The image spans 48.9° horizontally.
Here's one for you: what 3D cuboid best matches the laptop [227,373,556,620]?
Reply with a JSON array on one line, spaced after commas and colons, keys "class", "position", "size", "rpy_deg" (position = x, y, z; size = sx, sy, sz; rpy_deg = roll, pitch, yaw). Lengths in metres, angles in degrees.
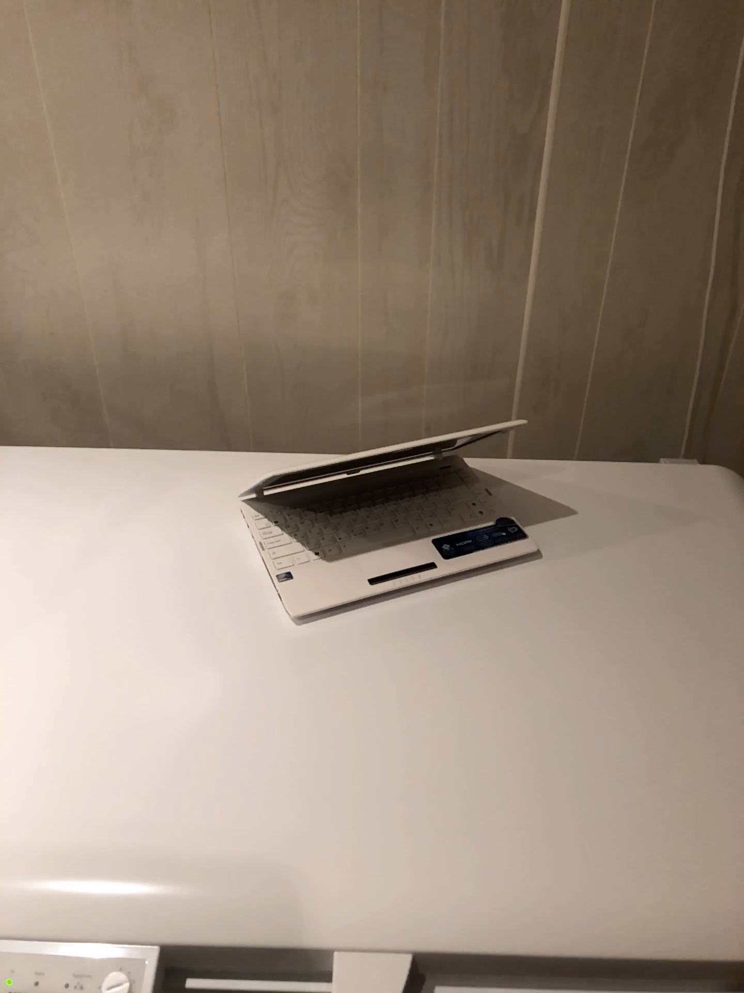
[{"class": "laptop", "position": [0.016, -0.013, 0.920], "size": [0.298, 0.115, 0.199], "rpy_deg": [-13, 41, -20]}]
